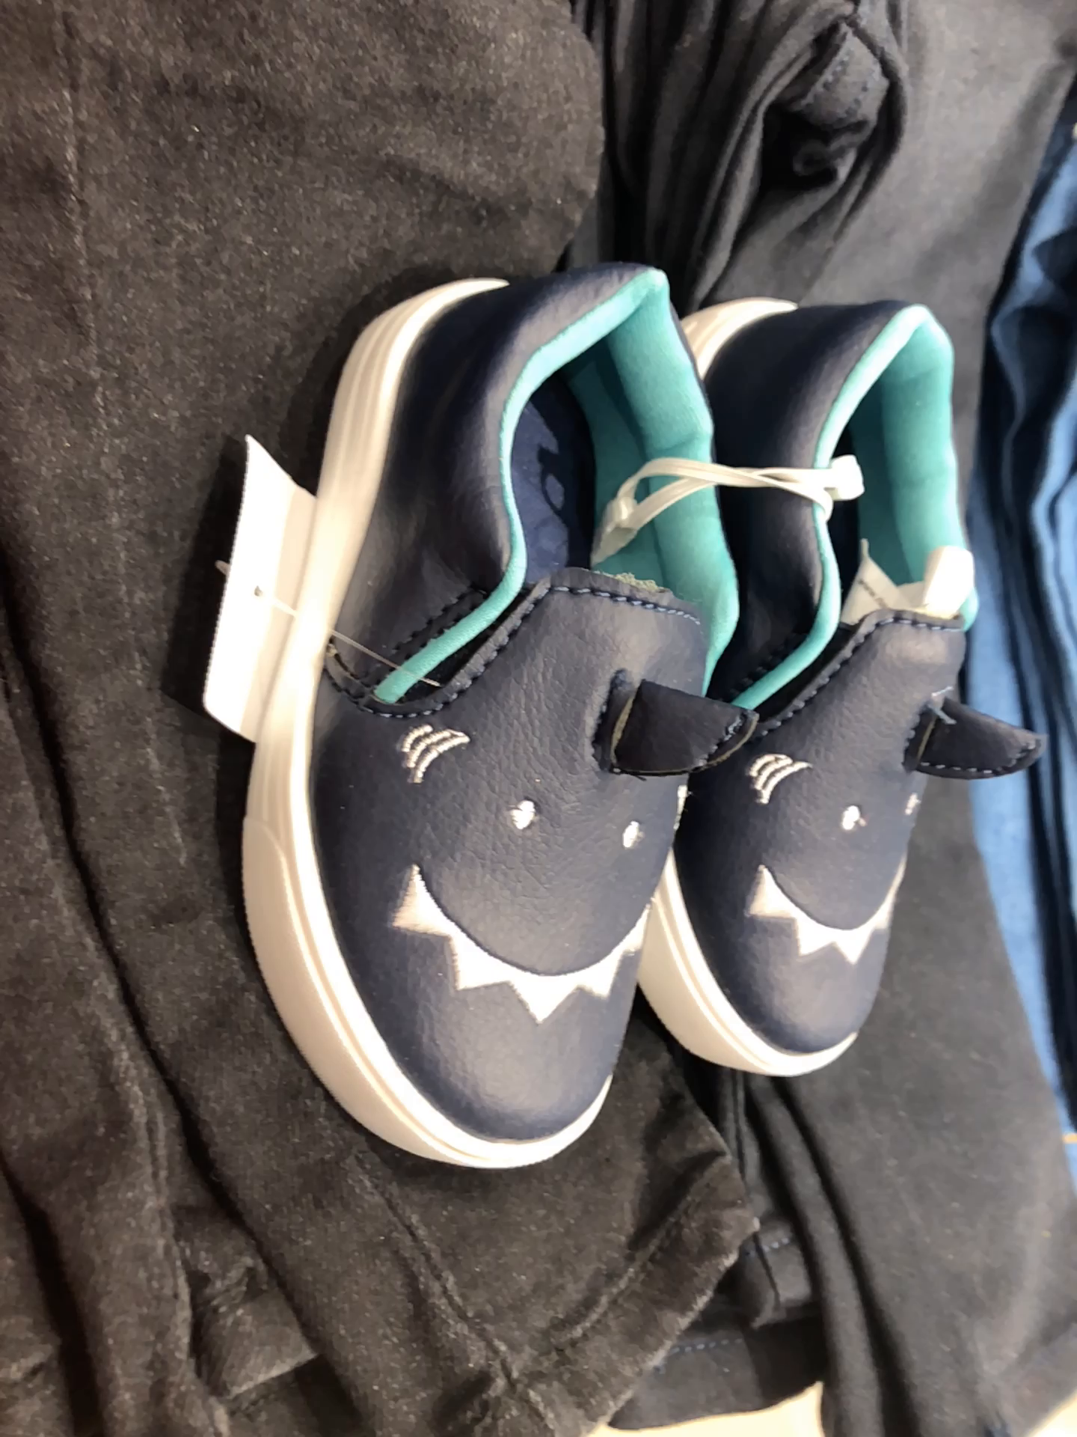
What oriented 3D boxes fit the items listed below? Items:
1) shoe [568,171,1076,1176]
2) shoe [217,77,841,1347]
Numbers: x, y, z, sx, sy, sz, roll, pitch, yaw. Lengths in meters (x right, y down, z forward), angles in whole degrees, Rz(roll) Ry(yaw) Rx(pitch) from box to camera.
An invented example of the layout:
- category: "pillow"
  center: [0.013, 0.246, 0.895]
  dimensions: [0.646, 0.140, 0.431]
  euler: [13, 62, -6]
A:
- category: "shoe"
  center: [0.059, -0.008, 0.226]
  dimensions: [0.080, 0.050, 0.150]
  euler: [-6, 90, -46]
- category: "shoe"
  center: [0.002, 0.000, 0.188]
  dimensions: [0.080, 0.050, 0.150]
  euler: [8, 80, -45]
